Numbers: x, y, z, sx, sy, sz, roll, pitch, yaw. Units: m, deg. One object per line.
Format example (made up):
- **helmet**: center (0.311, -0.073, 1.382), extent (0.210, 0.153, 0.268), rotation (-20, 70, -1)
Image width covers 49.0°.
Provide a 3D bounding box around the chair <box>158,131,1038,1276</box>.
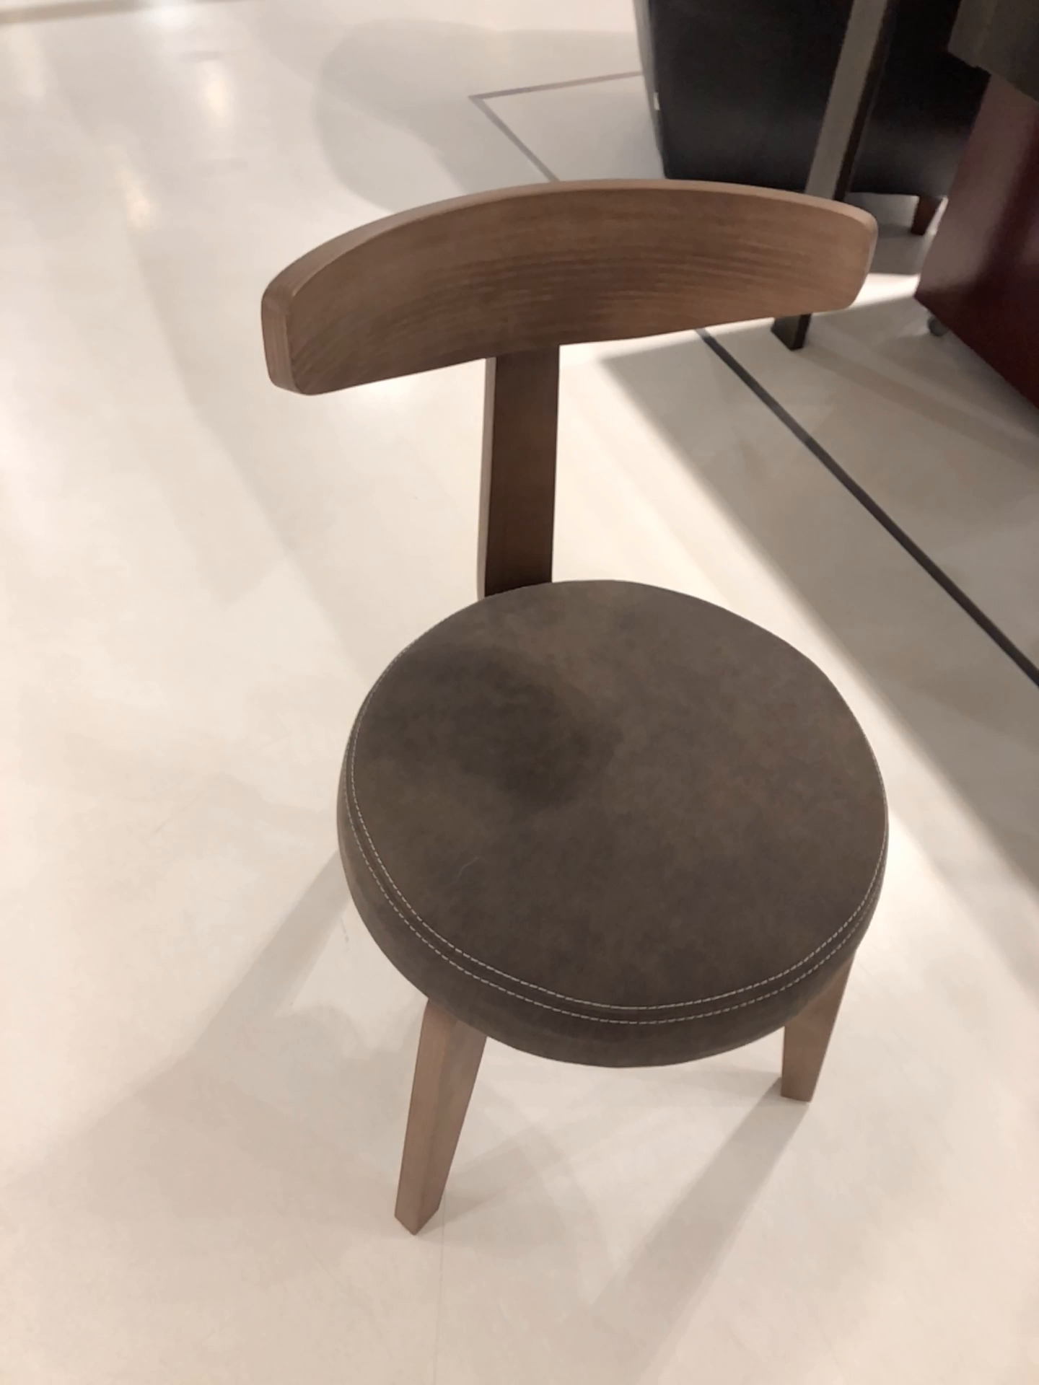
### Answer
- **chair**: center (0.052, 0.039, 0.917), extent (0.471, 0.705, 0.493), rotation (-13, 52, -15)
